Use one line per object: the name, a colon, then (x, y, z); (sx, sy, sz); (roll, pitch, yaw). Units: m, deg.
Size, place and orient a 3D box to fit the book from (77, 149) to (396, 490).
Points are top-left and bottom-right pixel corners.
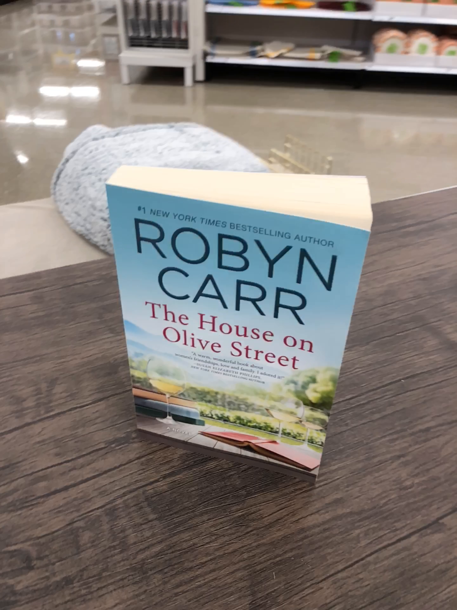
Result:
book: (0.004, 0.018, 0.307); (0.146, 0.195, 0.050); (9, 38, 10)
